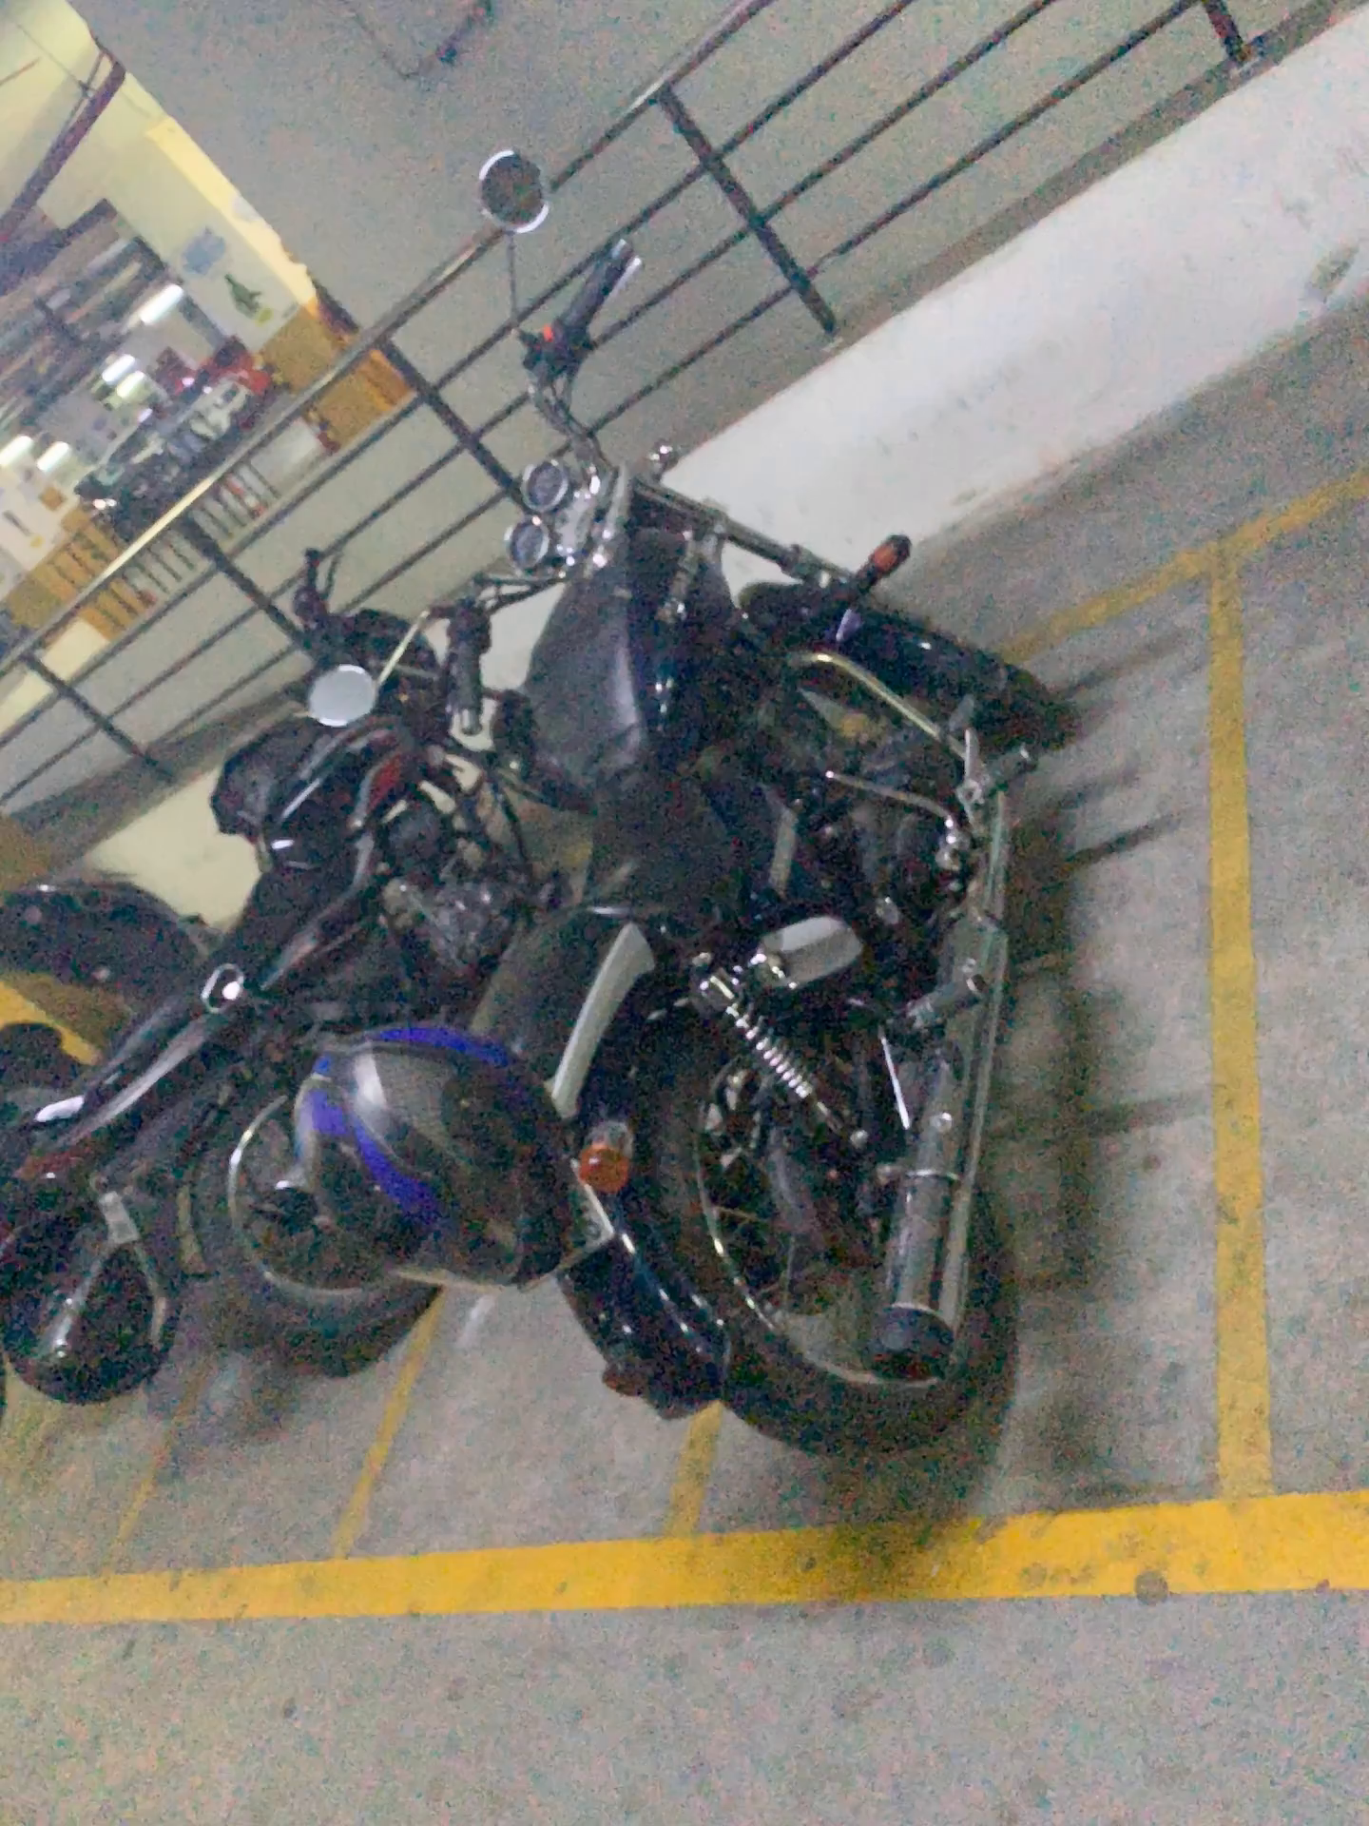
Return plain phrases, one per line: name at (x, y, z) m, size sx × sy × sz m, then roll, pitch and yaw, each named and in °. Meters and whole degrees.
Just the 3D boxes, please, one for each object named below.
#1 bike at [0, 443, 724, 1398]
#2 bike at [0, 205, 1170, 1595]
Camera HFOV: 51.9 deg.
bike at (-0.767, 0.016, 3.100) m, size 0.596 × 1.192 × 1.503 m, roll -10°, pitch 44°, yaw 49°
bike at (-0.102, -0.085, 2.254) m, size 0.844 × 1.302 × 1.671 m, roll -30°, pitch 31°, yaw 27°
